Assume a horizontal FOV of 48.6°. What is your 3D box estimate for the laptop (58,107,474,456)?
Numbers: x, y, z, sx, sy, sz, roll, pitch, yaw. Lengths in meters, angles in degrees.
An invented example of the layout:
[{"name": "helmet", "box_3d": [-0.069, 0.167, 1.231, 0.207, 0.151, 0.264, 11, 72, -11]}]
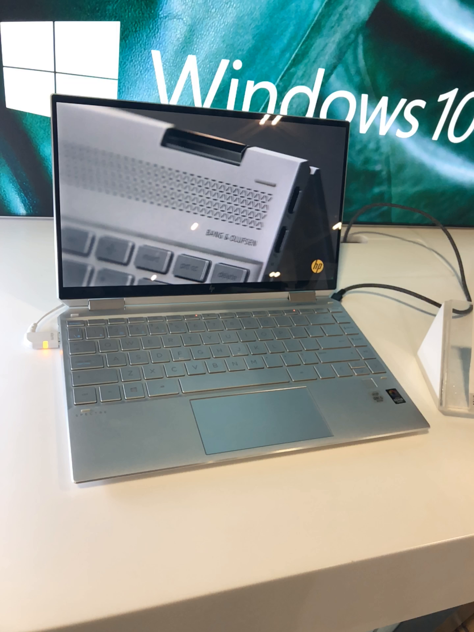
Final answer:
[{"name": "laptop", "box_3d": [0.007, -0.043, 0.441, 0.281, 0.194, 0.241, -2, 33, -21]}]
